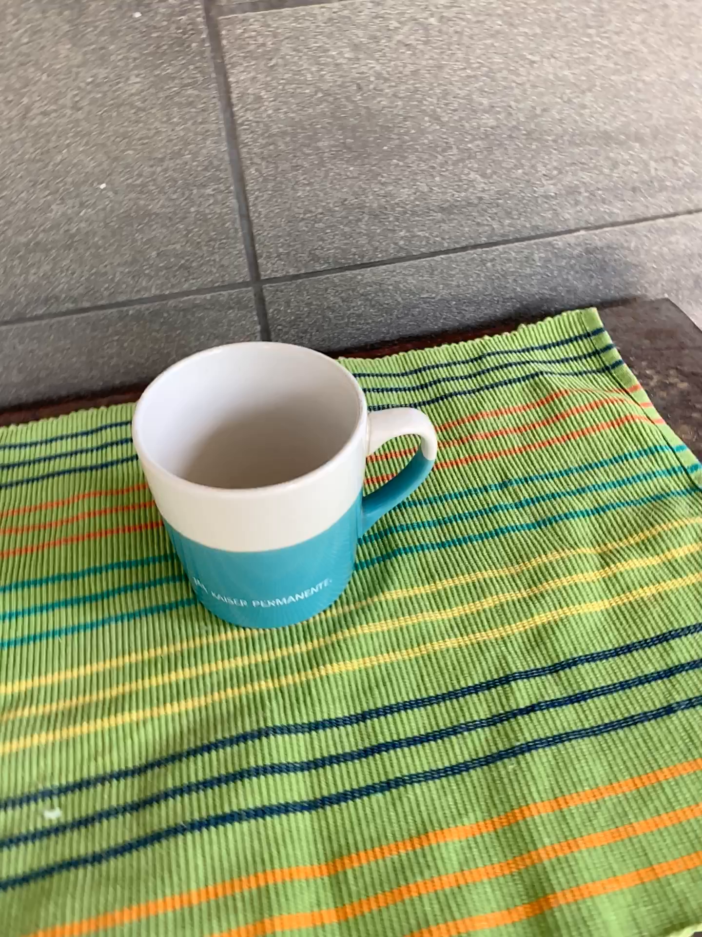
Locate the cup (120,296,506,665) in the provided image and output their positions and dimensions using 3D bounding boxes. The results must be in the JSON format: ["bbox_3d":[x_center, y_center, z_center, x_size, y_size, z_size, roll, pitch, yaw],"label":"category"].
[{"bbox_3d":[-0.019,0.003,0.331,0.140,0.100,0.100,-13,45,-8],"label":"cup"}]
